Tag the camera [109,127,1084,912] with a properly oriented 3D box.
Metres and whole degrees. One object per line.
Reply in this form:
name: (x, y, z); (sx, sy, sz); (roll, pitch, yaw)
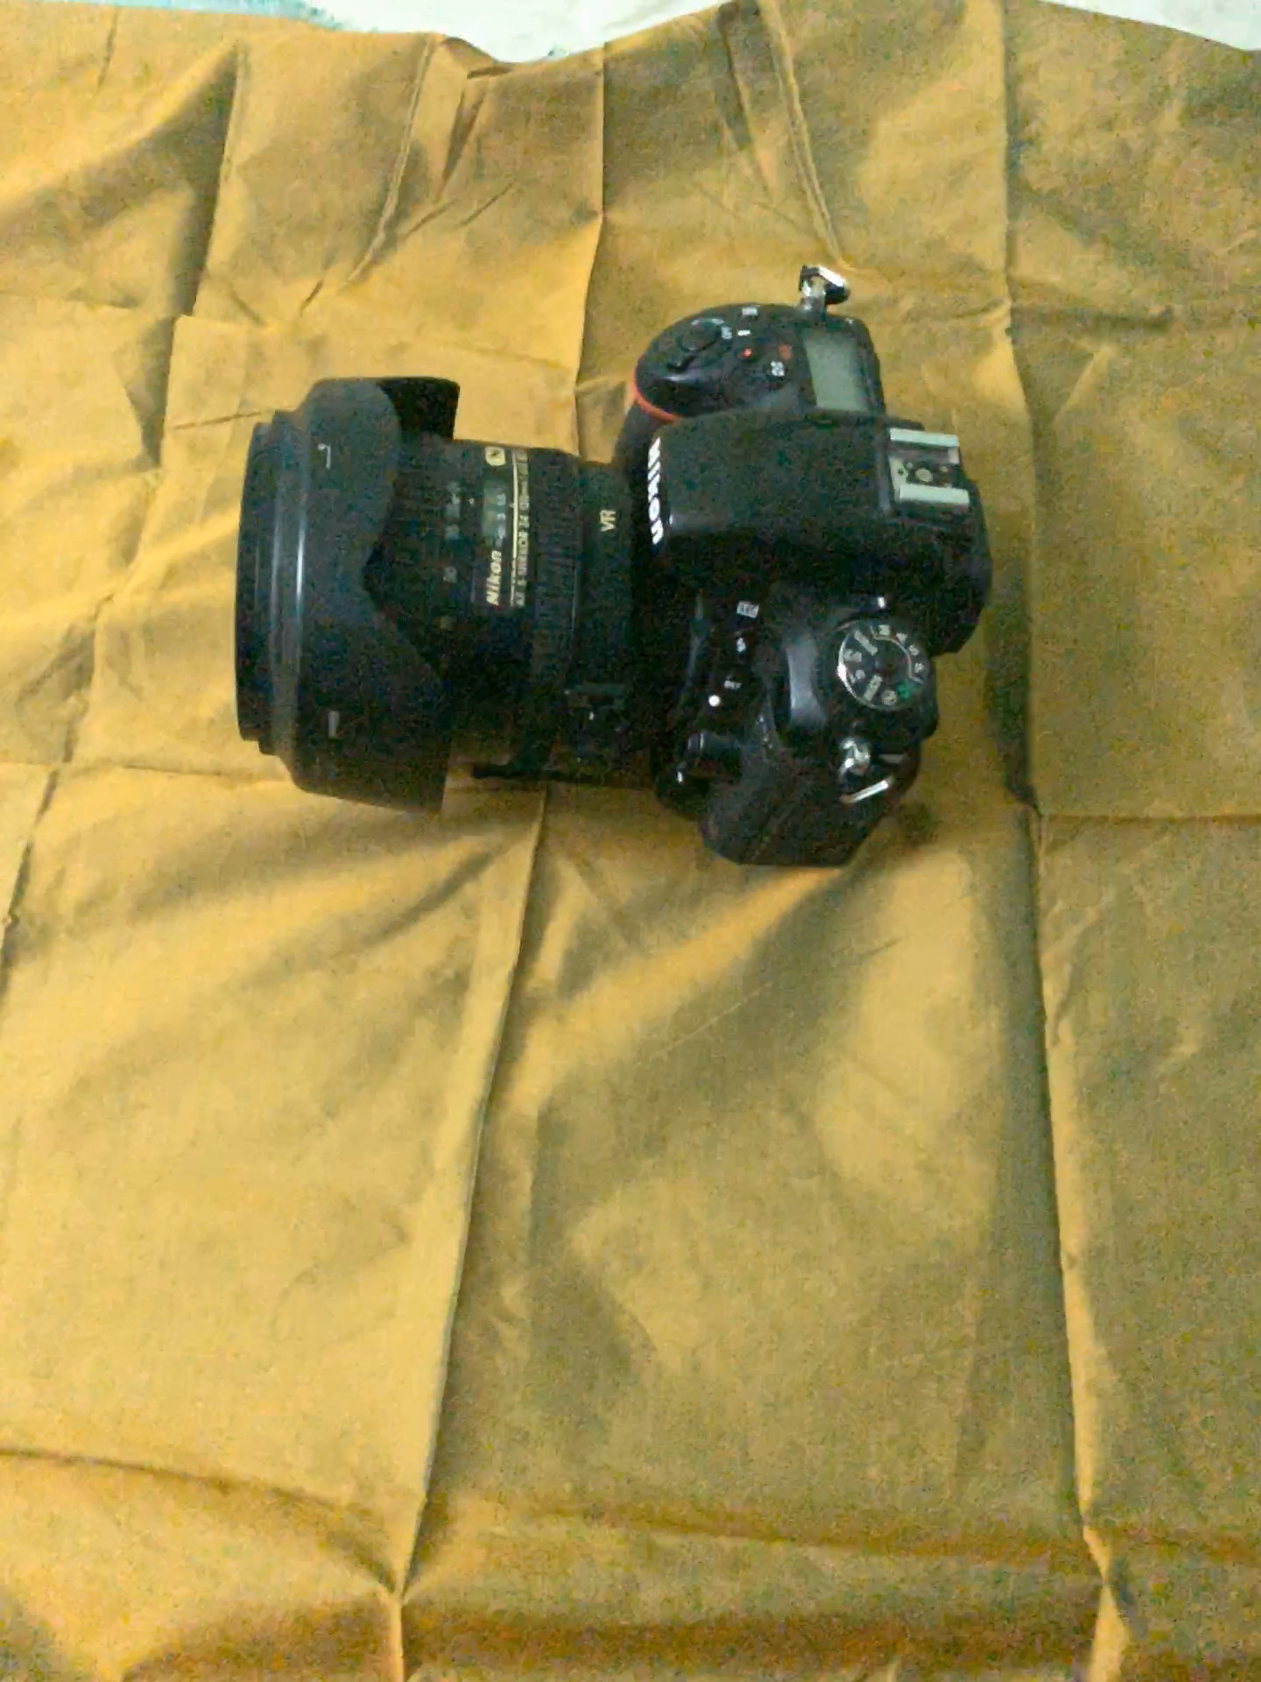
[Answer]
camera: (-0.009, -0.073, 0.327); (0.192, 0.100, 0.140); (5, 64, -9)
